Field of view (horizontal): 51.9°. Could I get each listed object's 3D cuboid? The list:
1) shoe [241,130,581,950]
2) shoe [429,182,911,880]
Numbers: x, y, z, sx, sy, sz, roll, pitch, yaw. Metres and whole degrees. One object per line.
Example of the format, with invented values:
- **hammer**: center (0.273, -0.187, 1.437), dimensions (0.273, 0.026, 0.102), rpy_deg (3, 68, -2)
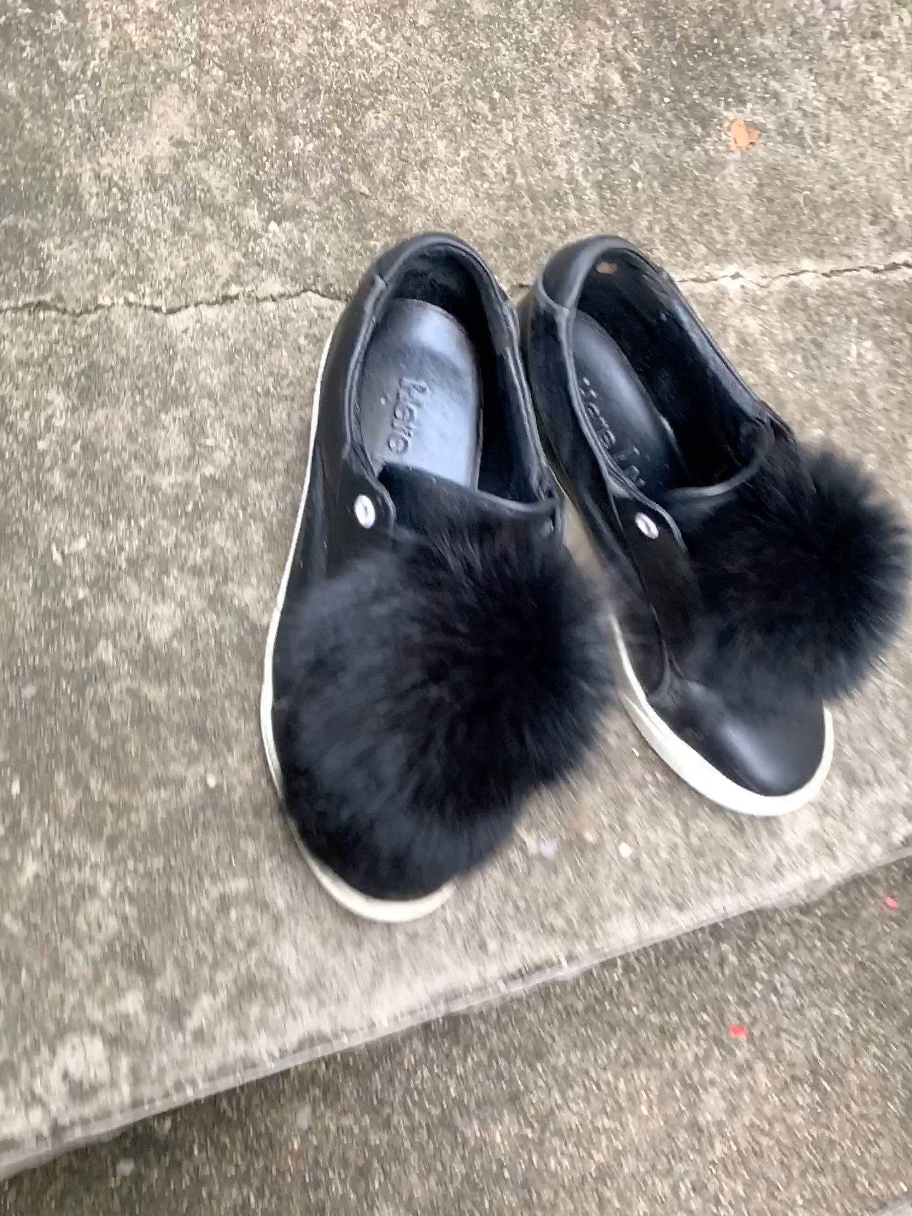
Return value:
- **shoe**: center (-0.021, -0.021, 0.353), dimensions (0.095, 0.098, 0.269), rpy_deg (4, 76, -17)
- **shoe**: center (0.102, -0.026, 0.382), dimensions (0.098, 0.098, 0.243), rpy_deg (-28, 87, -22)
